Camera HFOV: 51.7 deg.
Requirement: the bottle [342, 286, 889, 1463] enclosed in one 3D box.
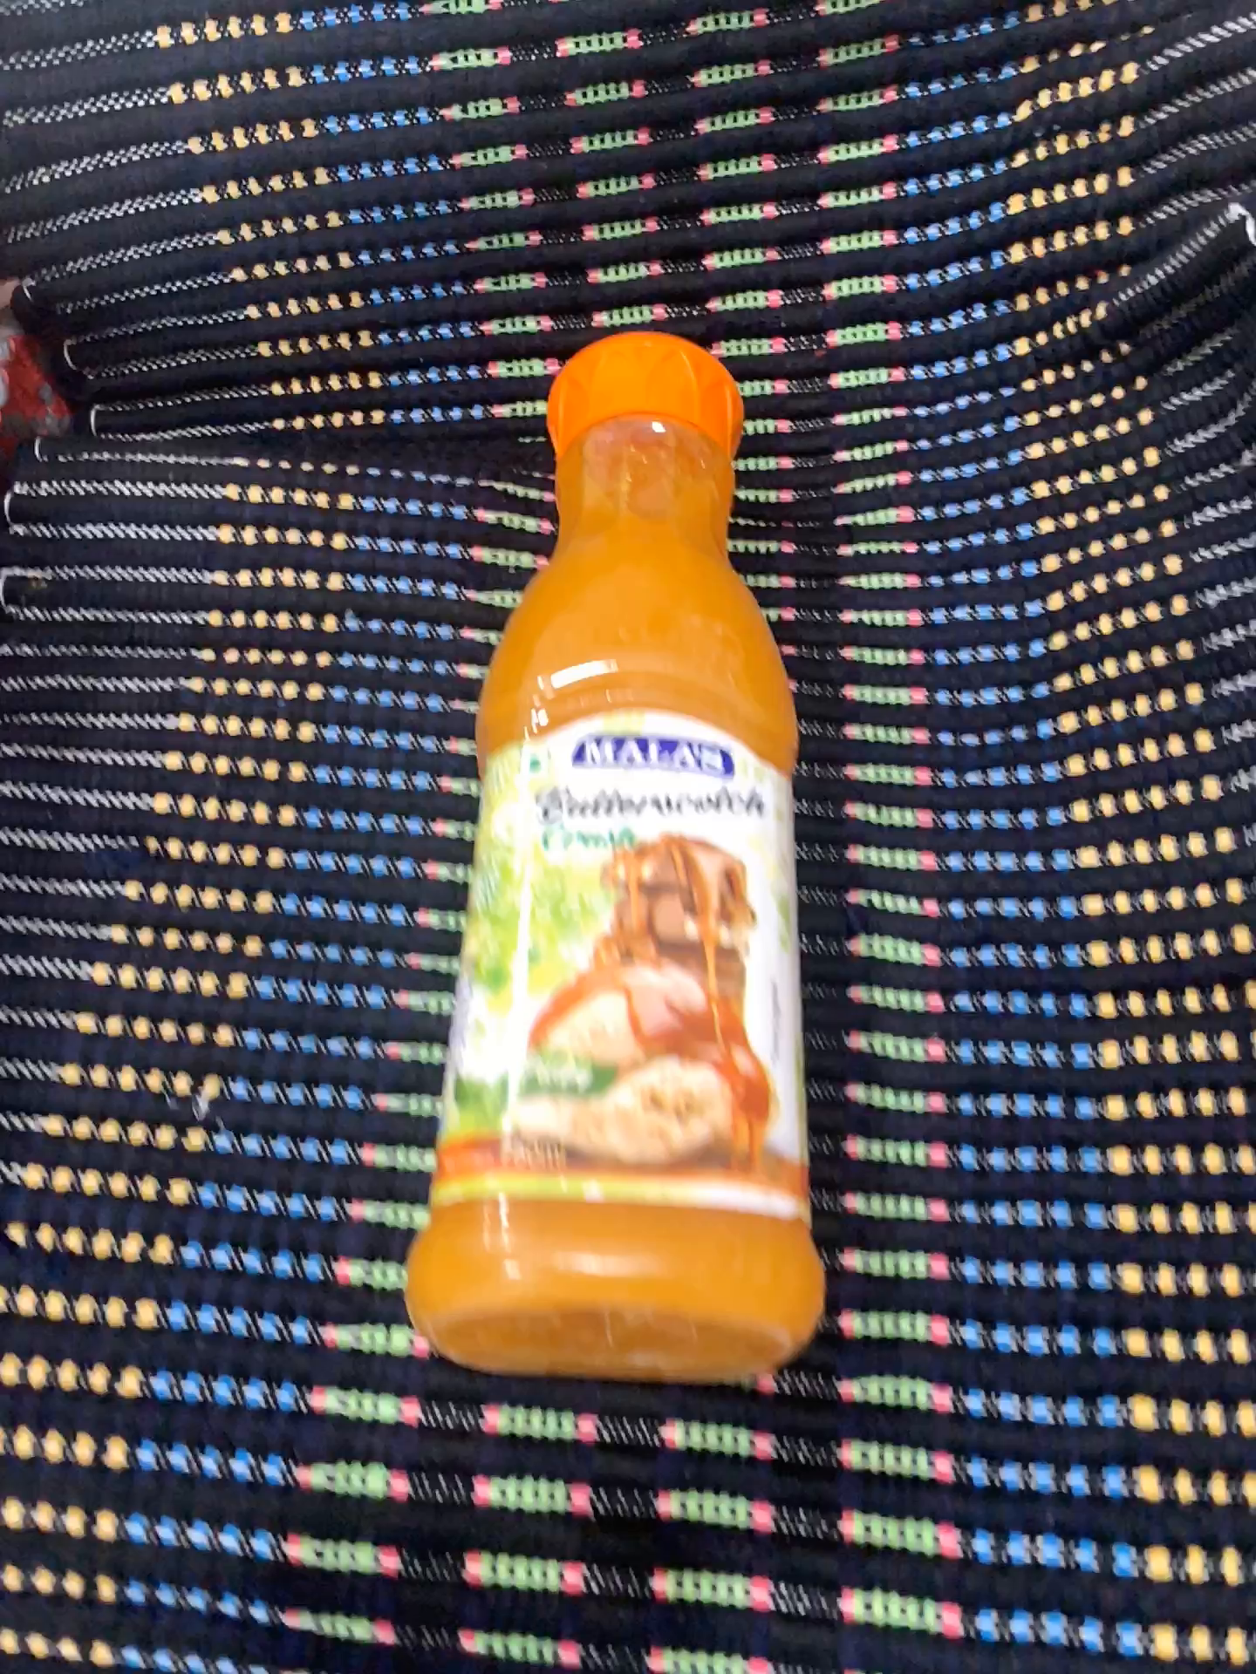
[{"bbox_3d":[0.003,-0.016,0.266,0.070,0.060,0.251,3,52,0],"label":"bottle"}]
